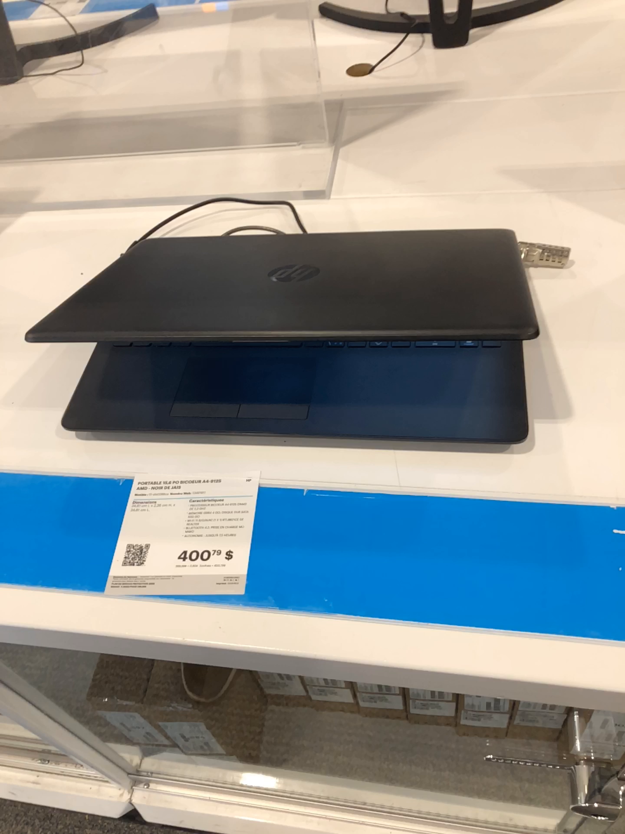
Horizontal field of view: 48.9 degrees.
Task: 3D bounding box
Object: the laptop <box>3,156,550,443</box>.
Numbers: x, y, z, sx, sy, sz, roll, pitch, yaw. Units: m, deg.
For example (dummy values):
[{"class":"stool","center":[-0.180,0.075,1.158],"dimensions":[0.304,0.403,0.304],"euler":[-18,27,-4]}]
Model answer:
[{"class":"laptop","center":[-0.009,-0.104,0.561],"dimensions":[0.365,0.092,0.235],"euler":[2,51,8]}]
